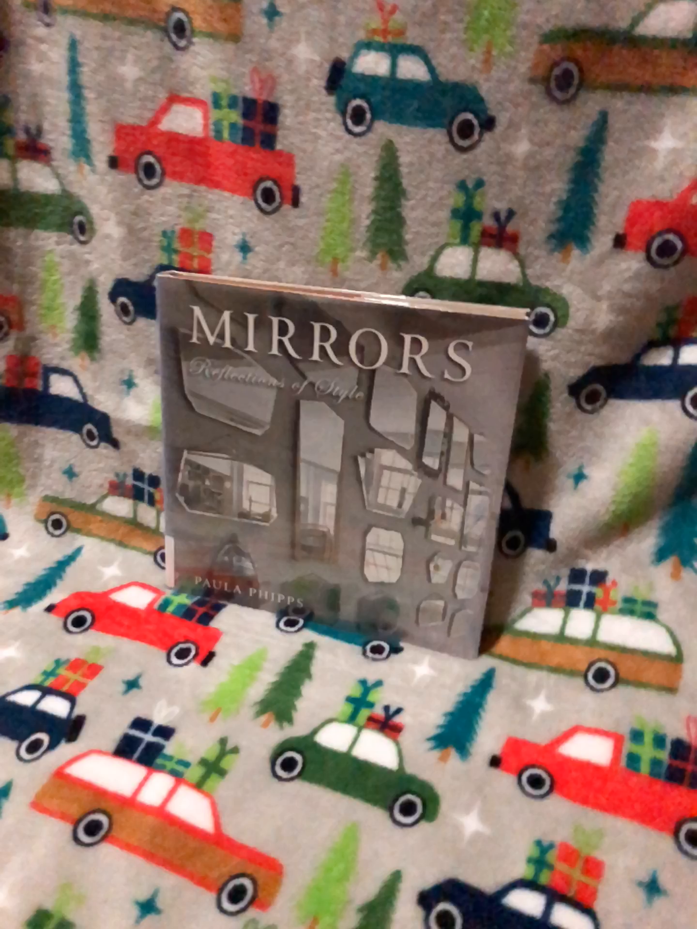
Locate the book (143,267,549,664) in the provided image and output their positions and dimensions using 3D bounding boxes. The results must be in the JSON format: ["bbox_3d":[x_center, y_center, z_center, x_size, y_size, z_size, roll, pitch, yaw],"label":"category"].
[{"bbox_3d":[-0.011,0.001,0.462,0.223,0.208,0.030,10,24,14],"label":"book"}]
